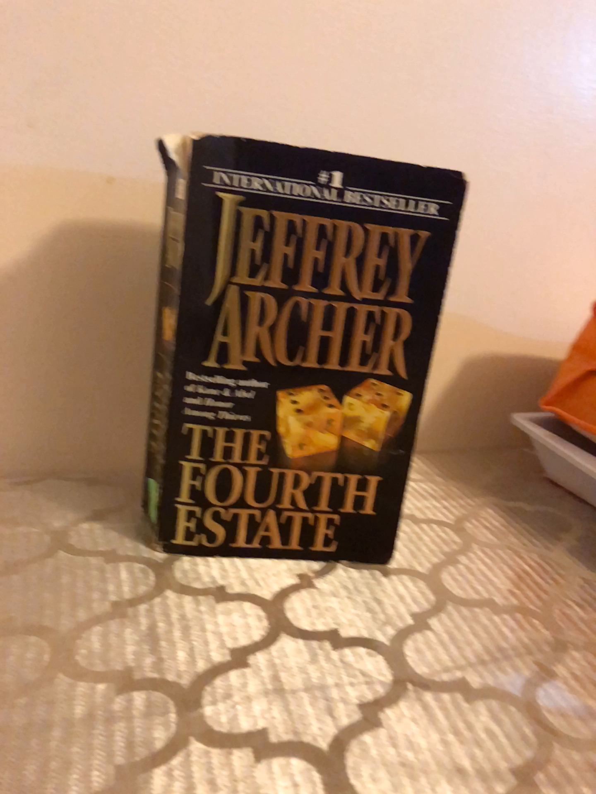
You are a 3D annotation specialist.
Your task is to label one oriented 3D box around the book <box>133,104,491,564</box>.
[{"bbox_3d":[-0.002,-0.022,0.285,0.120,0.169,0.060,4,15,-9],"label":"book"}]
